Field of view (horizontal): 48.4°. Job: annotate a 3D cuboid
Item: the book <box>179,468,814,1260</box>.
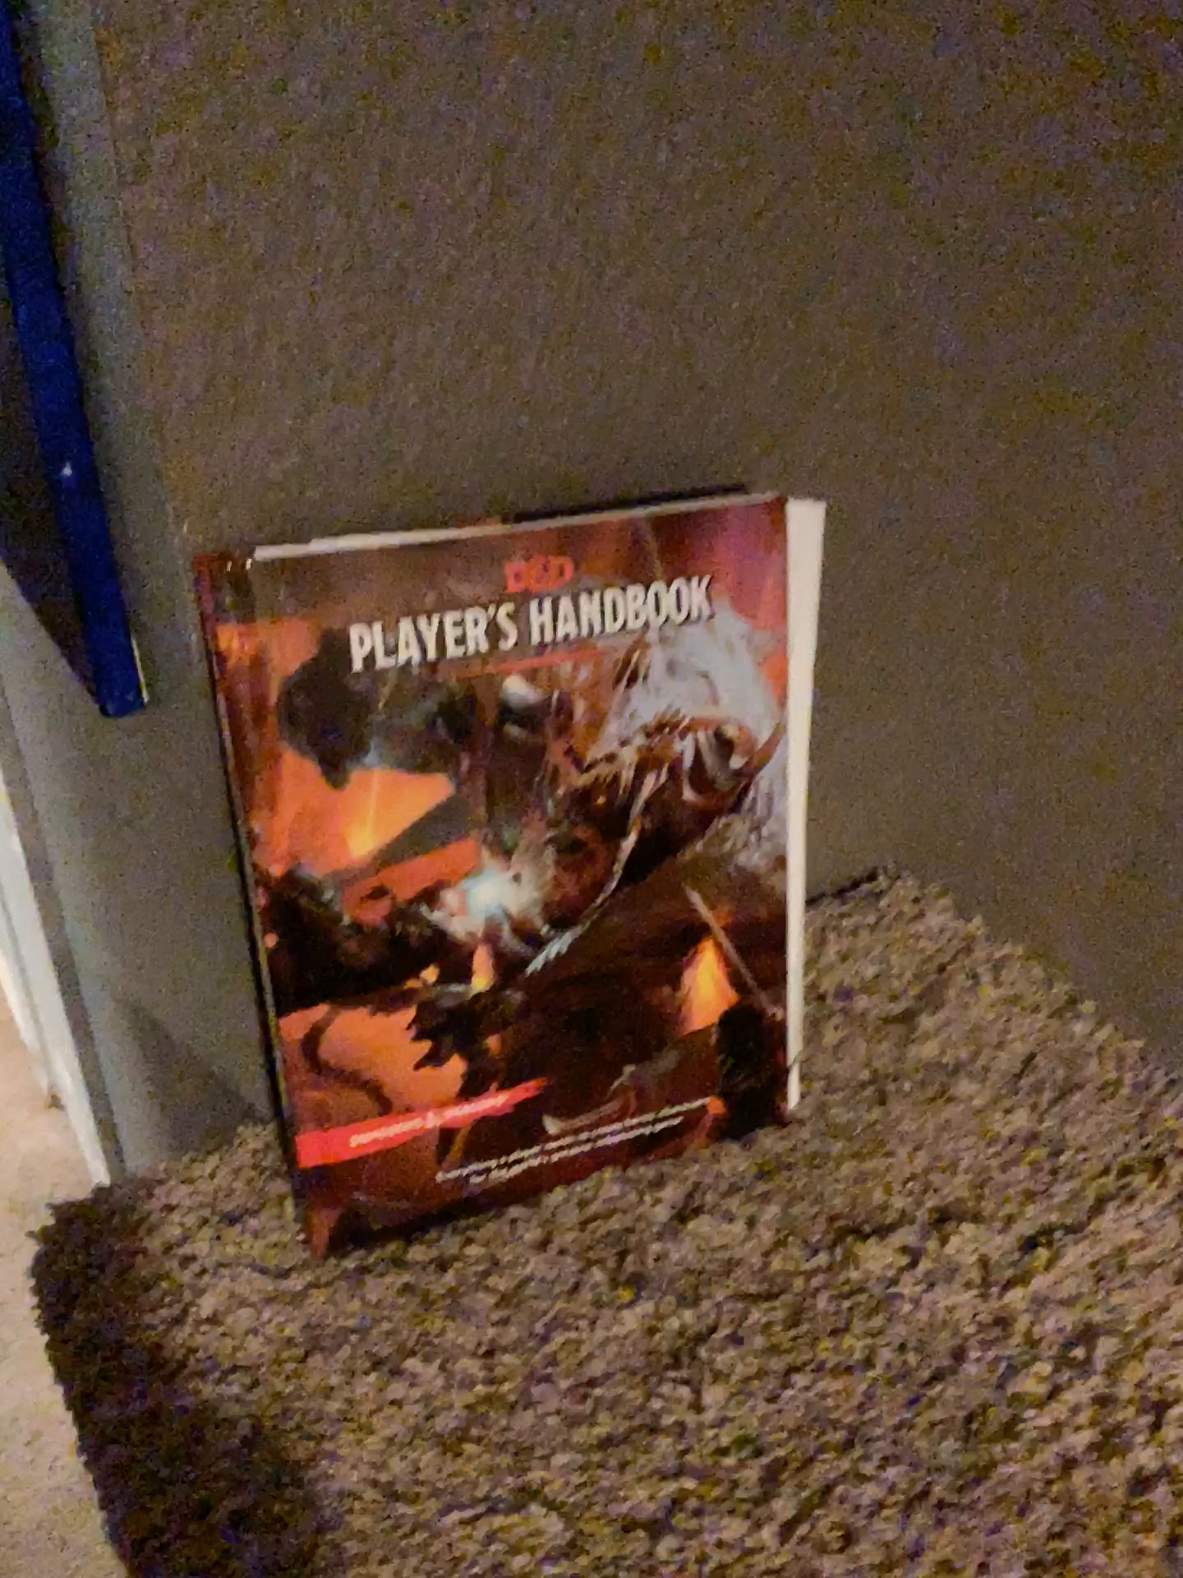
[{"bbox_3d":[-0.024,0.031,0.536,0.230,0.290,0.040,-11,25,-20],"label":"book"}]
